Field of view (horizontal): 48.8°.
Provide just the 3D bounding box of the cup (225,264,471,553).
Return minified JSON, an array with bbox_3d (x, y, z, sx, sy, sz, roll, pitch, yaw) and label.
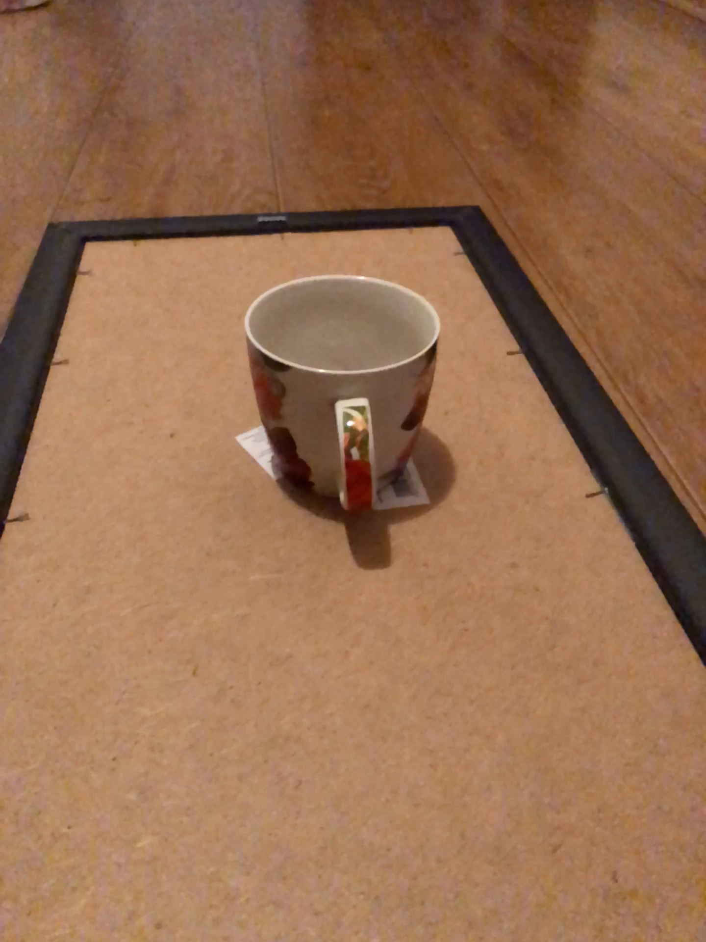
[{"bbox_3d":[-0.009,-0.036,0.381,0.098,0.079,0.122,-4,40,-7],"label":"cup"}]
